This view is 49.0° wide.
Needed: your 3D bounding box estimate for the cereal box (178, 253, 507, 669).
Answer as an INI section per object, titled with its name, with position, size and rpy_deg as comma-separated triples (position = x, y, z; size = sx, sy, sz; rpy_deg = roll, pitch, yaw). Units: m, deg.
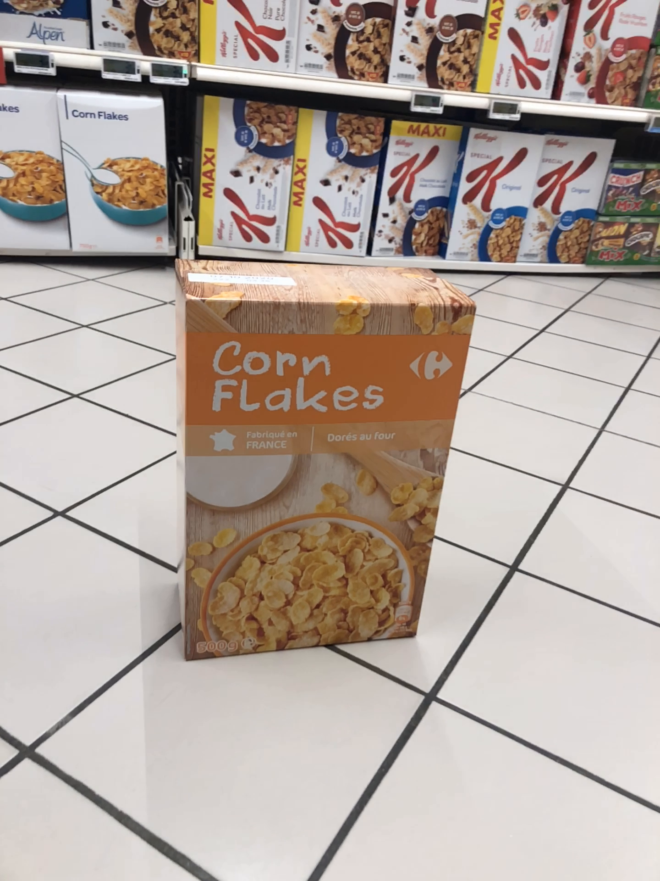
[cereal box]
position = -0.009, 0.016, 0.547
size = 0.200, 0.278, 0.110
rpy_deg = -2, 27, -15
